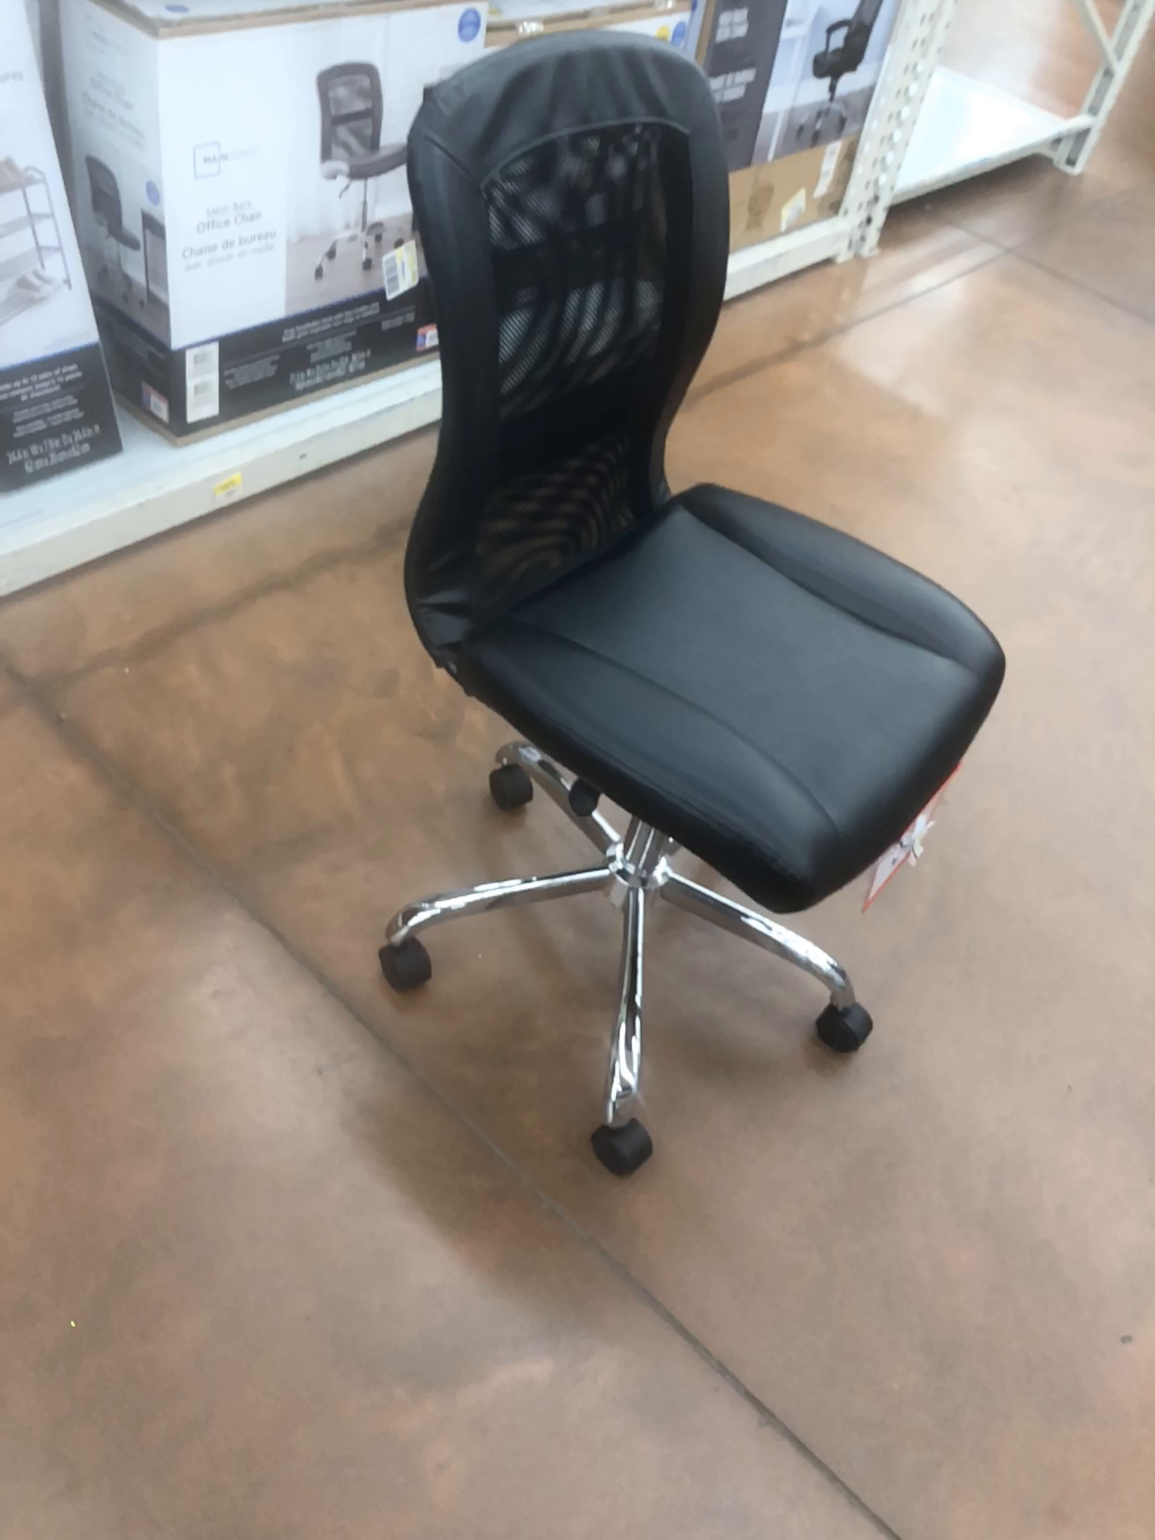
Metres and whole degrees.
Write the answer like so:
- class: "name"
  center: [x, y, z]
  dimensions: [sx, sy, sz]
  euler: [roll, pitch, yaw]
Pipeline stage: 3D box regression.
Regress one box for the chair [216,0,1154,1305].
- class: "chair"
  center: [0.169, -0.150, 1.168]
  dimensions: [0.651, 0.817, 0.682]
  euler: [36, 49, 21]
